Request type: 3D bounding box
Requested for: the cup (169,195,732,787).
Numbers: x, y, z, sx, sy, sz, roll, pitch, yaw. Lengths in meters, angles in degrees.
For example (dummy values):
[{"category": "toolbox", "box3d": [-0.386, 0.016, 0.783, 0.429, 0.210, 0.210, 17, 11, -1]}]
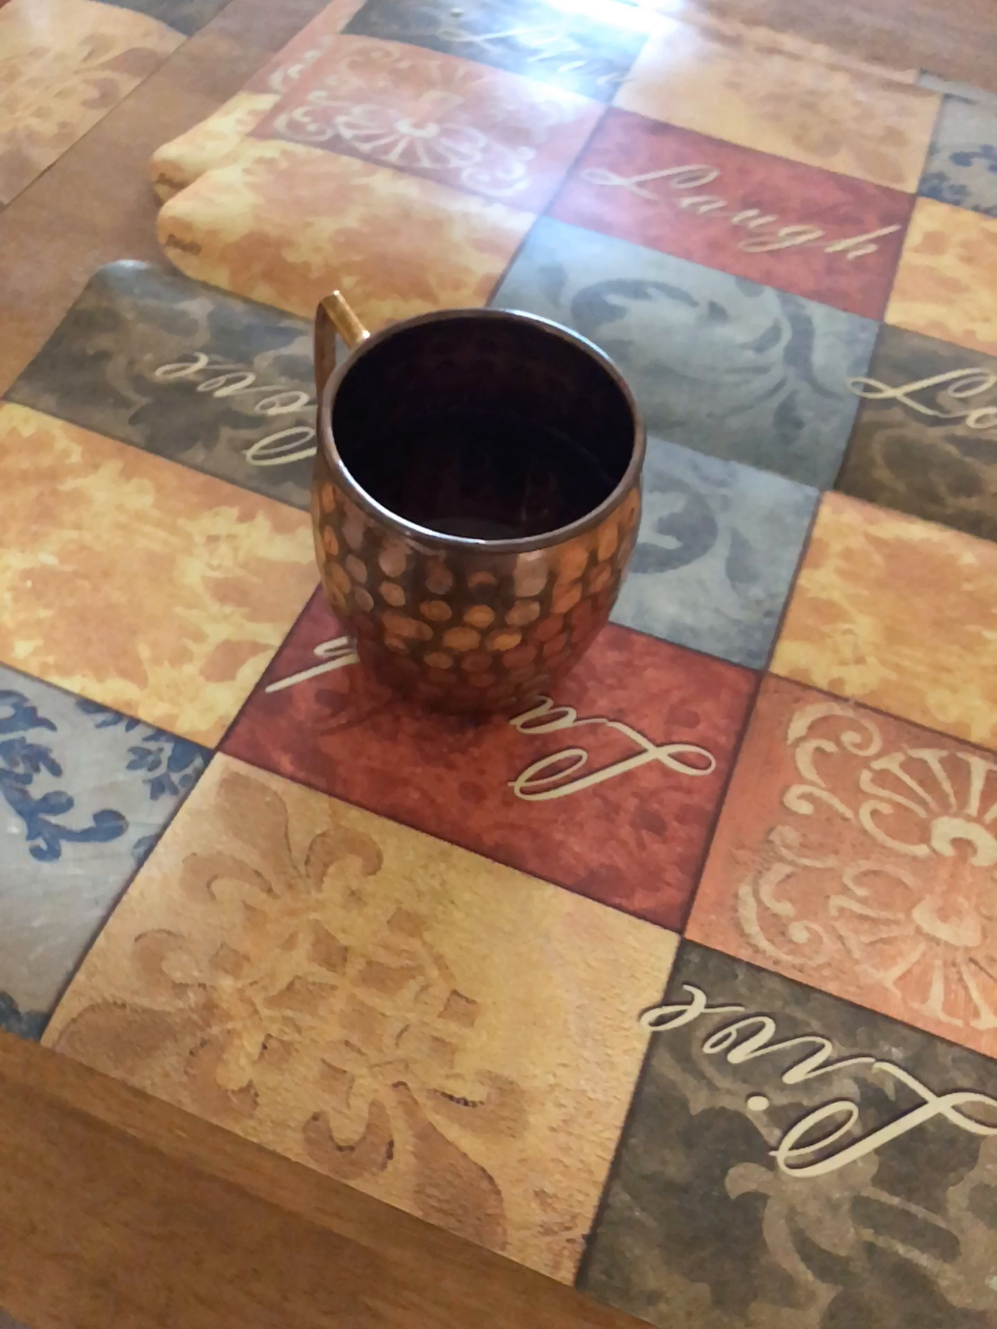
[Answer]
[{"category": "cup", "box3d": [-0.017, -0.053, 0.334, 0.100, 0.090, 0.120, -29, 64, -20]}]
